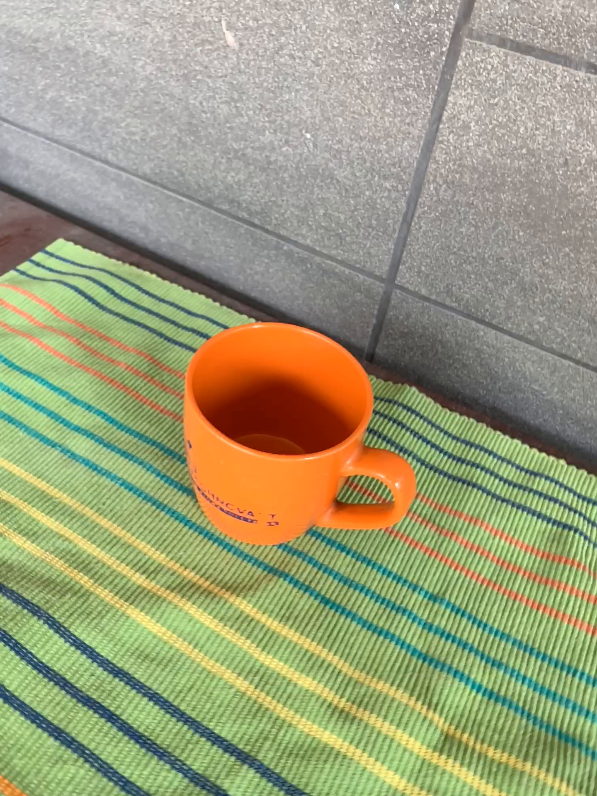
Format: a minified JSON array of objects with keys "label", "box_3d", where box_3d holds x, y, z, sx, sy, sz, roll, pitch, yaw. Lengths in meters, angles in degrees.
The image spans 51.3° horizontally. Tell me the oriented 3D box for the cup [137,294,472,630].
[{"label":"cup","box_3d":[0.001,0.026,0.300,0.120,0.080,0.090,26,46,15]}]
